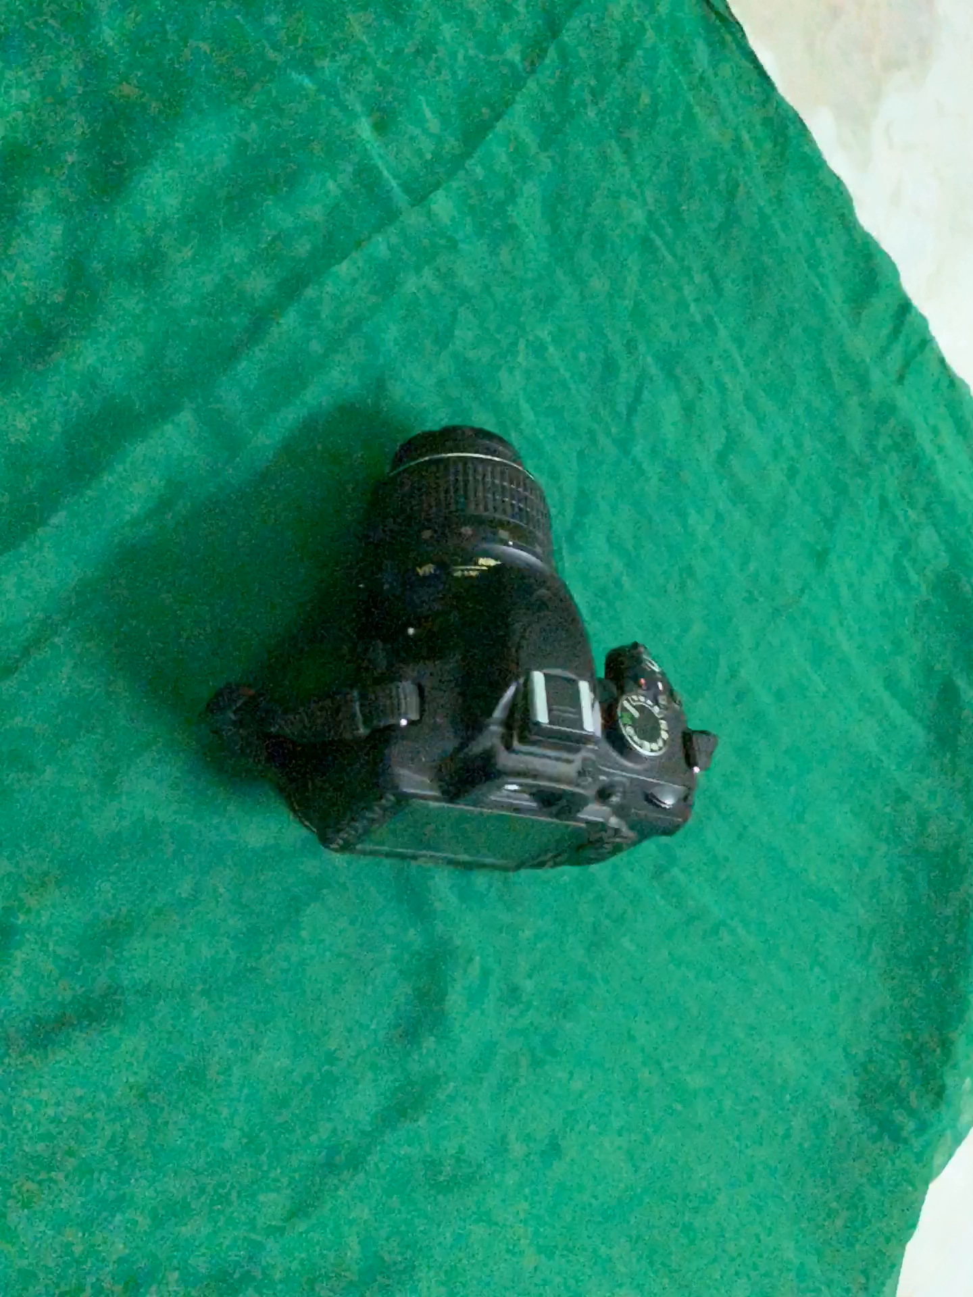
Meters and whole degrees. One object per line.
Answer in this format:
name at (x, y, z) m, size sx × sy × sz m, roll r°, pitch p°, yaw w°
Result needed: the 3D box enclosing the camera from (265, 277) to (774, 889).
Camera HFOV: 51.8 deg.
camera at (0.009, -0.013, 0.362) m, size 0.133 × 0.100 × 0.166 m, roll 15°, pitch 61°, yaw -30°
